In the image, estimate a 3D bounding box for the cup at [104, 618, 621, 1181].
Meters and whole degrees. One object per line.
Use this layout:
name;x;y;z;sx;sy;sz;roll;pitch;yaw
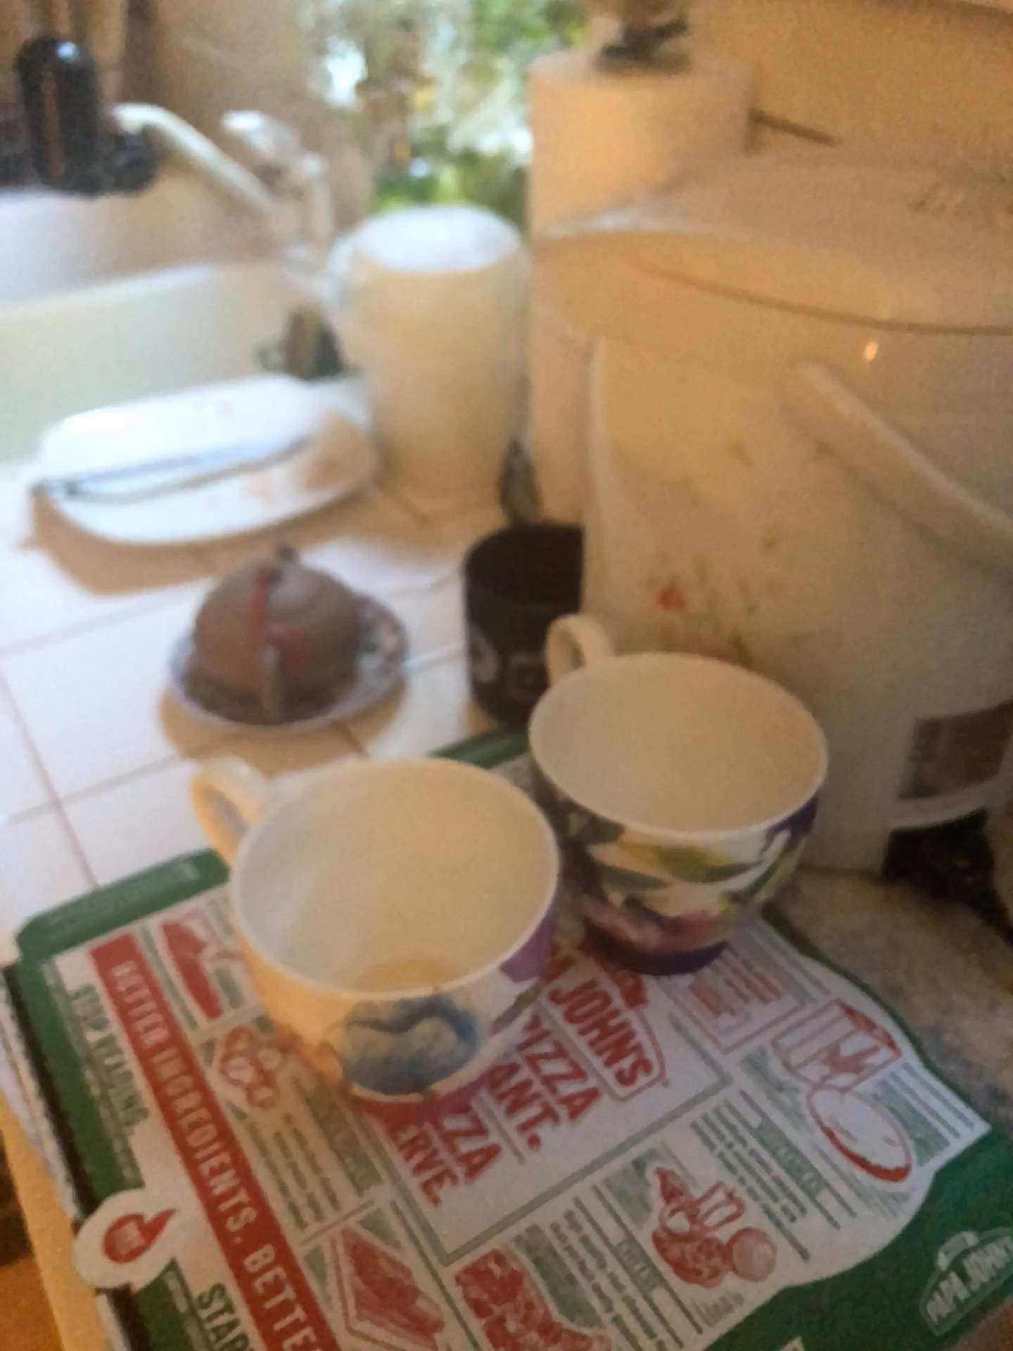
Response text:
cup;-0.053;0.066;0.404;0.101;0.079;0.161;-26;44;-29

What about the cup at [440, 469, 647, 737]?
cup;0.016;-0.046;0.656;0.090;0.079;0.141;-6;38;-7

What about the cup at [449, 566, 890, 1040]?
cup;0.053;0.040;0.457;0.100;0.079;0.161;-15;39;-17
